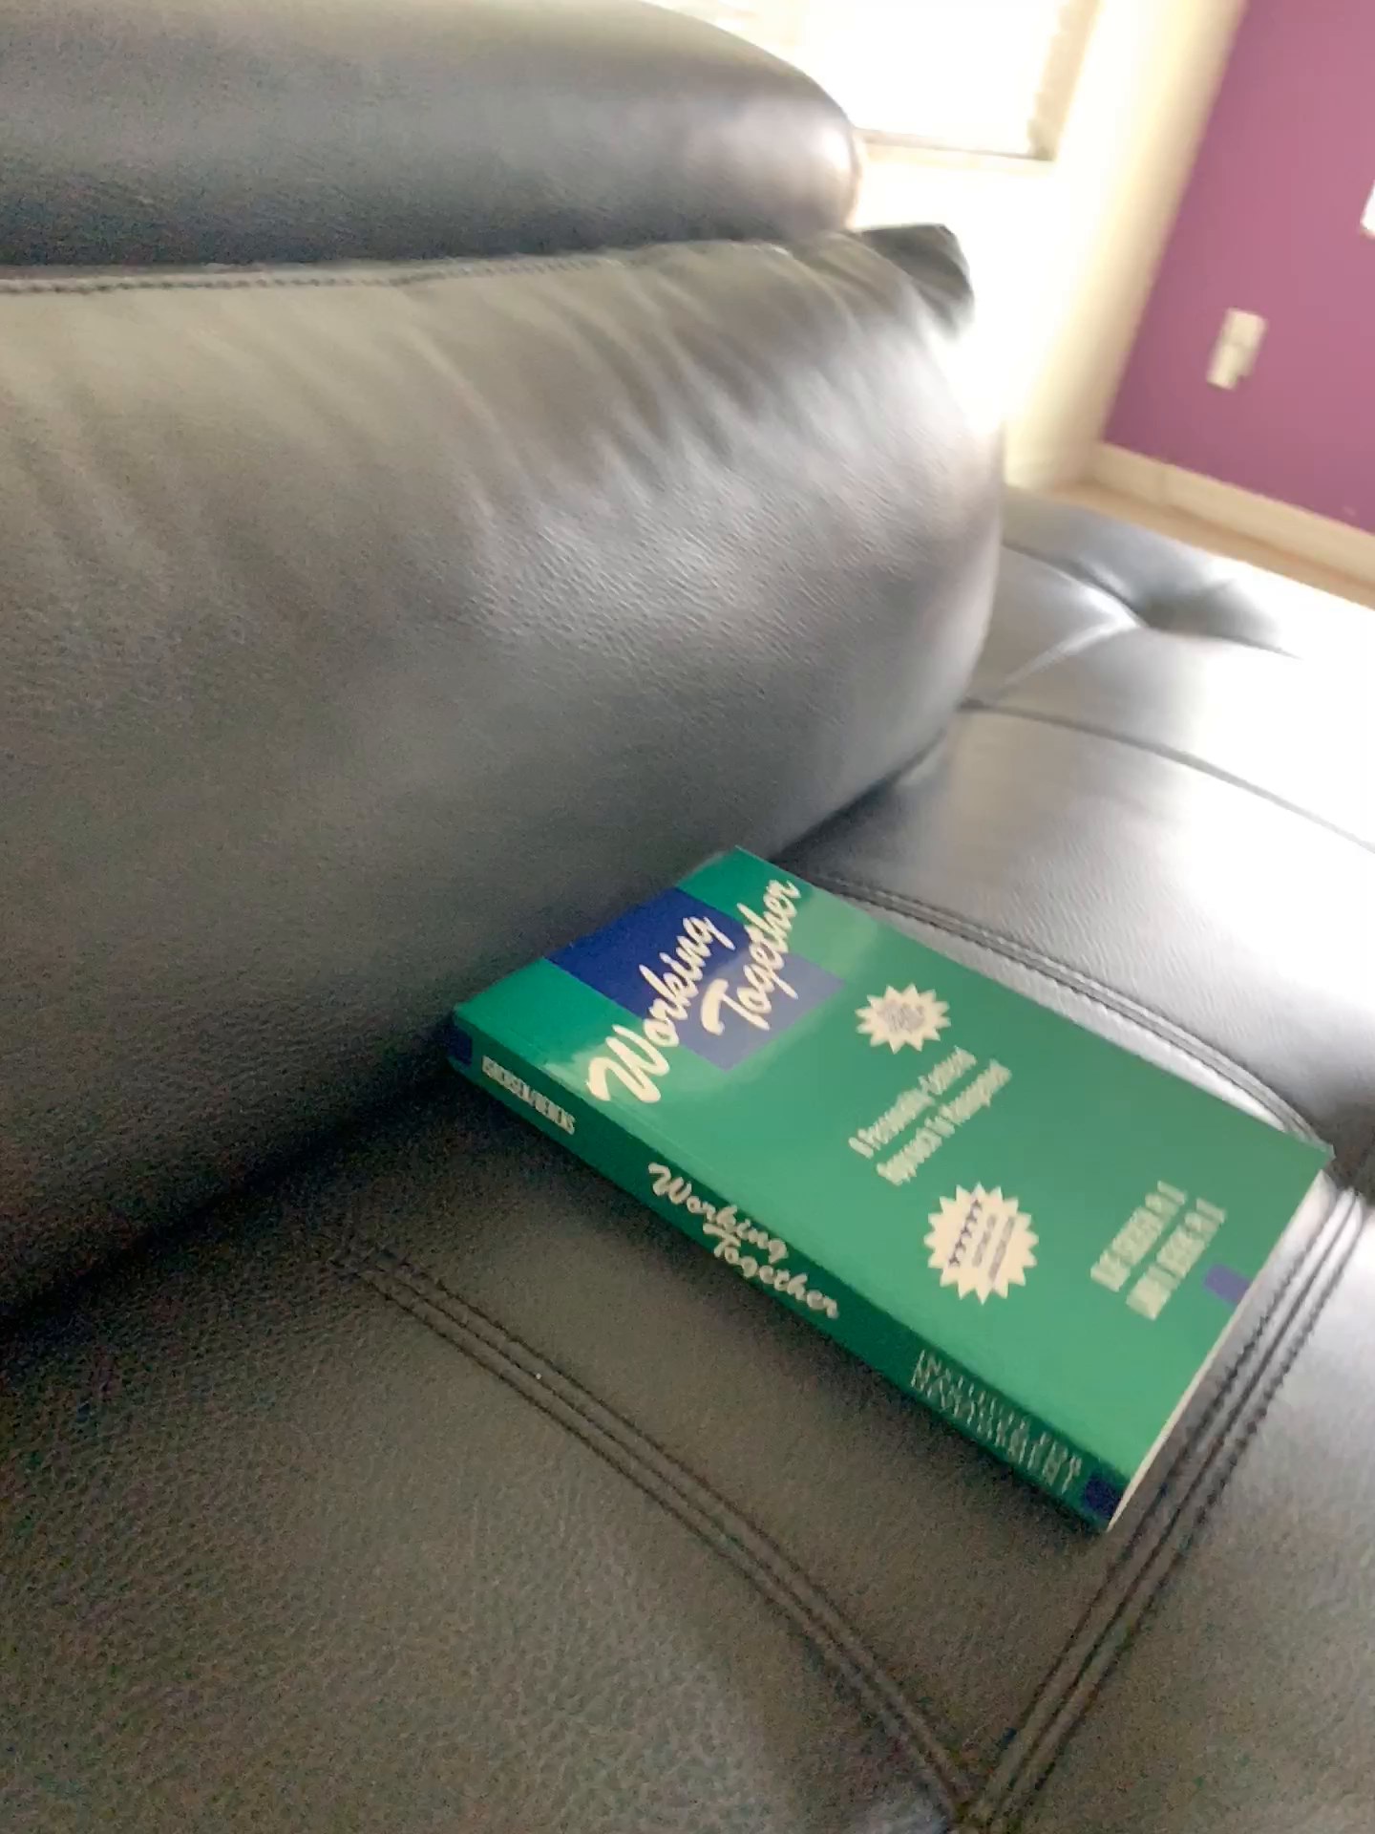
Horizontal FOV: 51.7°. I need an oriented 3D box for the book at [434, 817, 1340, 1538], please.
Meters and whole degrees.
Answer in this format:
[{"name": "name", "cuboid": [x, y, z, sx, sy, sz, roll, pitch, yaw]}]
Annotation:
[{"name": "book", "cuboid": [0.054, 0.051, 0.405, 0.217, 0.033, 0.138, 31, 37, 27]}]
